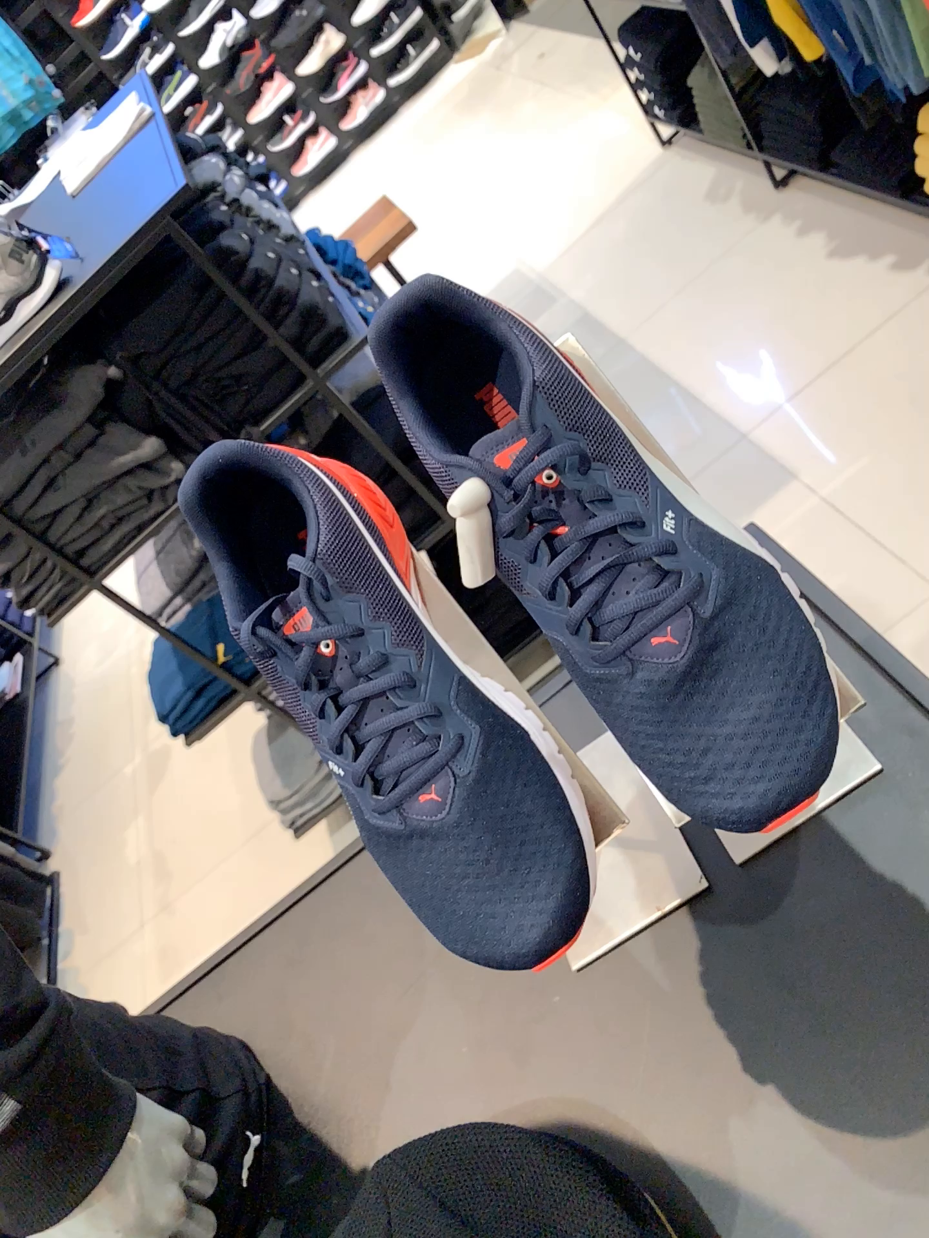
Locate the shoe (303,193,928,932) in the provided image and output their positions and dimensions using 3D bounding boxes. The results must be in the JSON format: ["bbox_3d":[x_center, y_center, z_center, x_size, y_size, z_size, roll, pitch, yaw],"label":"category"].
[{"bbox_3d":[0.061,-0.026,0.365,0.100,0.099,0.262,-40,64,9],"label":"shoe"}]

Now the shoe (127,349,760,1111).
[{"bbox_3d":[-0.017,0.028,0.359,0.100,0.079,0.252,-40,64,9],"label":"shoe"}]
